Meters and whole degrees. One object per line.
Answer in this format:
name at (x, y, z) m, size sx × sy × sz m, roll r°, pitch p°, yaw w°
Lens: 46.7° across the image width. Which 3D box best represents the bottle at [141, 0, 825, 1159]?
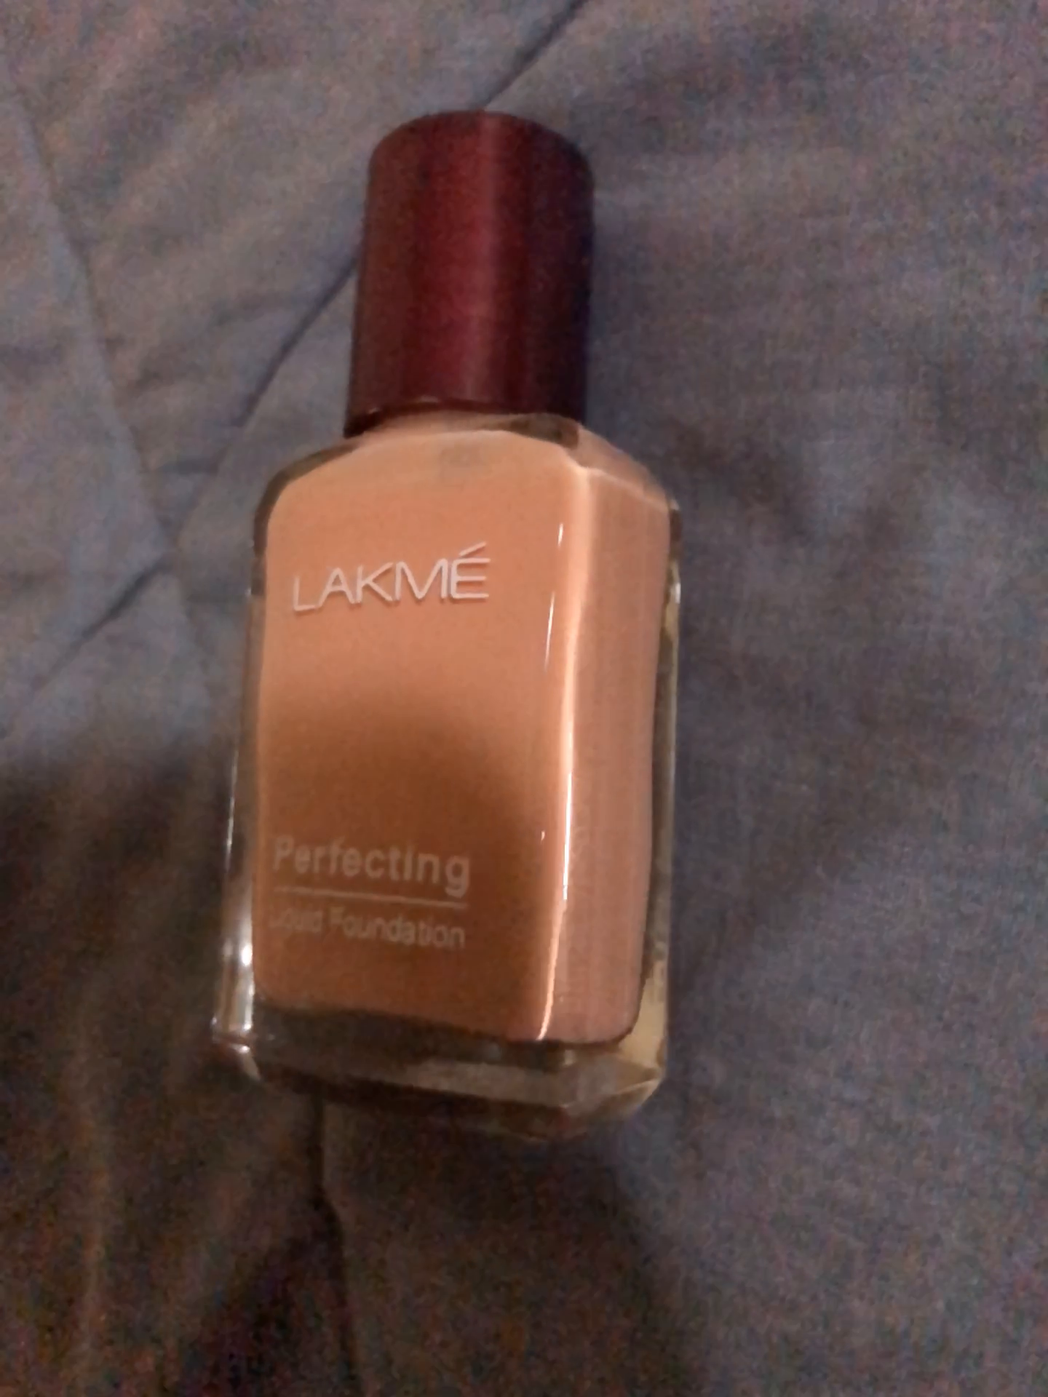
bottle at (-0.002, -0.018, 0.121) m, size 0.050 × 0.030 × 0.110 m, roll 0°, pitch 80°, yaw 32°
